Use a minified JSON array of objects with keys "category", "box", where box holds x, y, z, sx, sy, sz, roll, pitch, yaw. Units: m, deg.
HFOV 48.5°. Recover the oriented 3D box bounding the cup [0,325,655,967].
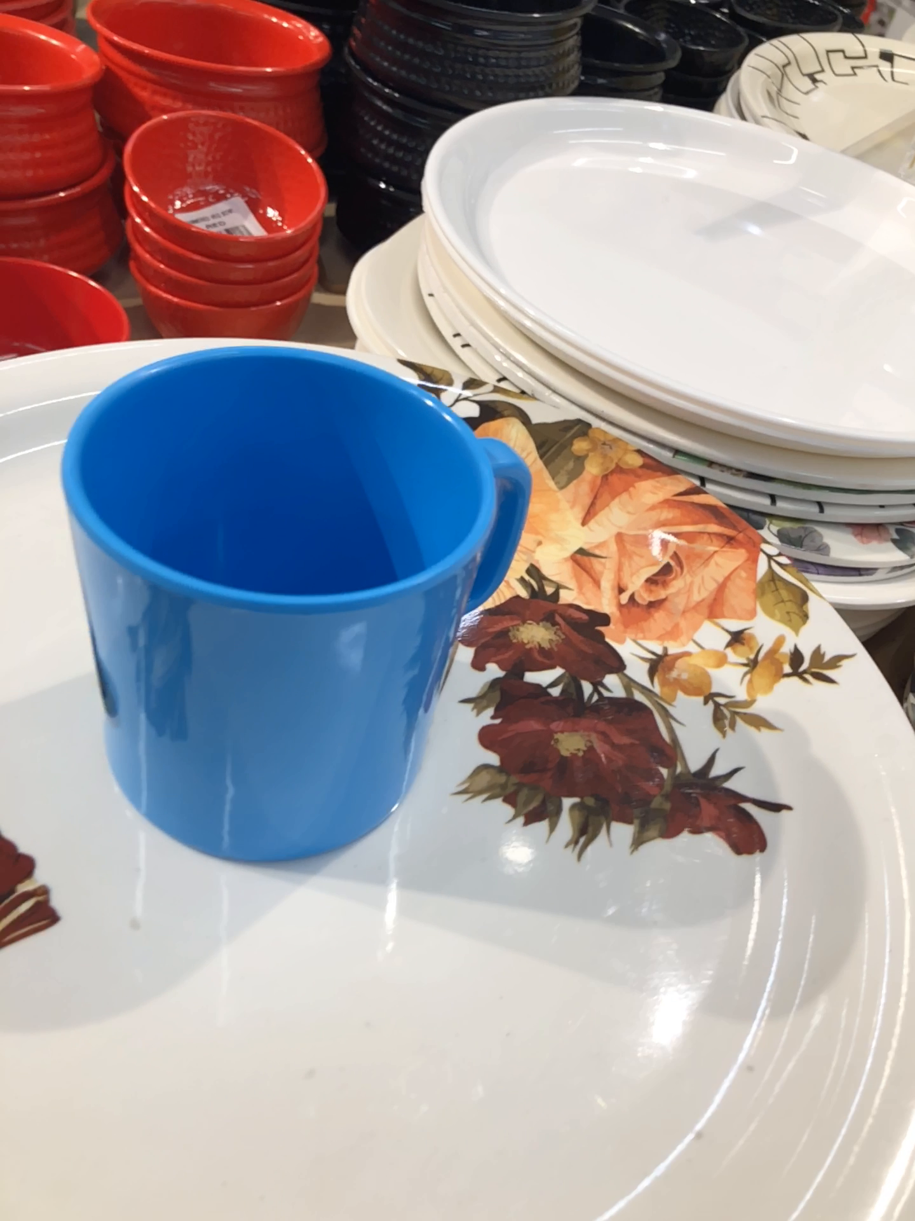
[{"category":"cup","box":[-0.034,0.003,0.234,0.110,0.089,0.080,-18,52,-27]}]
